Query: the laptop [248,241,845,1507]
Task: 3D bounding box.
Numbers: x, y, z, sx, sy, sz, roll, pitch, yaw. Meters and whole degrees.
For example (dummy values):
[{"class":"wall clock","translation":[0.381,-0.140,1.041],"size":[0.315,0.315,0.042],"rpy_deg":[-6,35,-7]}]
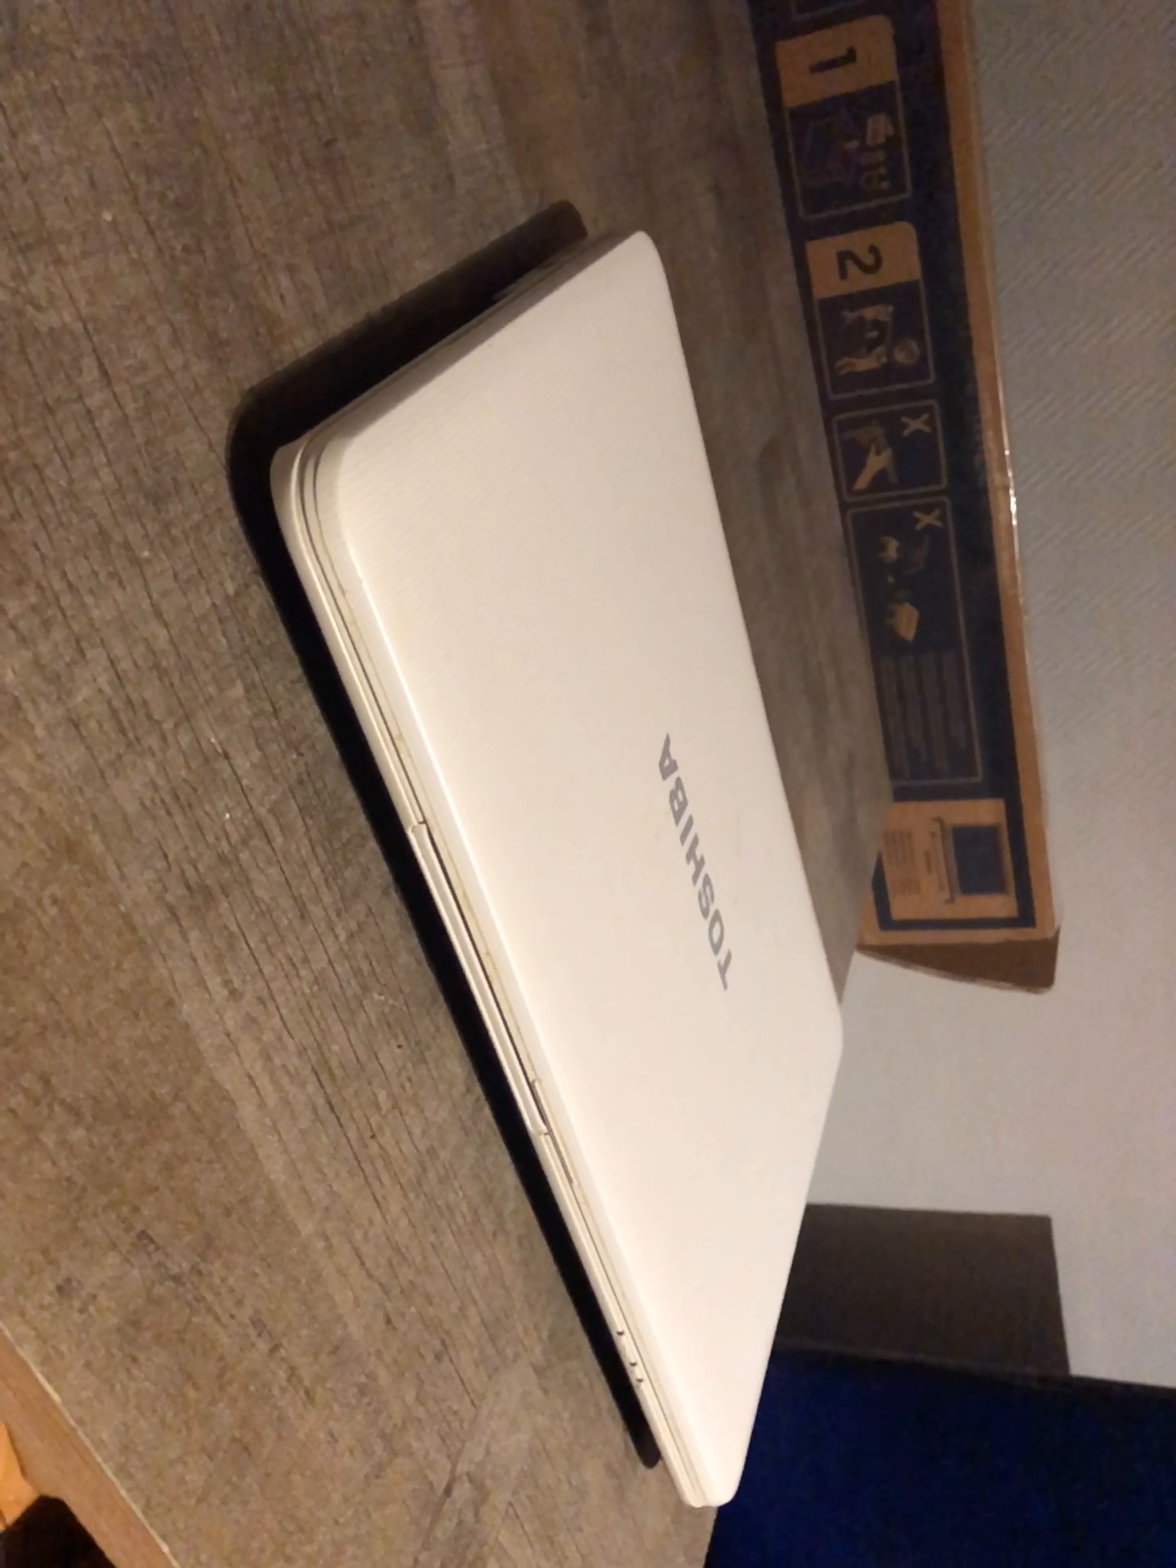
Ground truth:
[{"class":"laptop","translation":[0.025,0.032,0.457],"size":[0.228,0.020,0.377],"rpy_deg":[-59,138,-50]}]
